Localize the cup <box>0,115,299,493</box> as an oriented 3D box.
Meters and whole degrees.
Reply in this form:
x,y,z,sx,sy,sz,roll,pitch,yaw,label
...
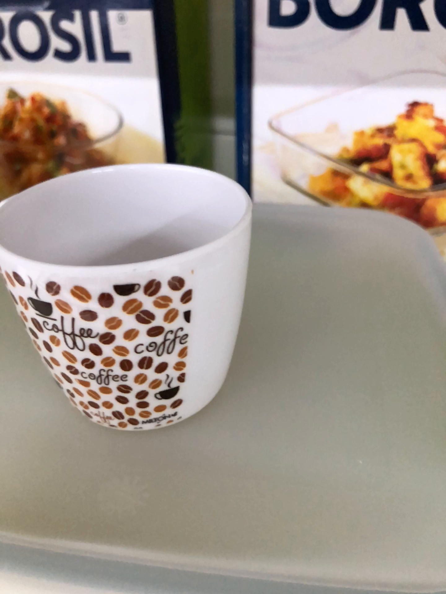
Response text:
x,y,z,sx,sy,sz,roll,pitch,yaw,label
-0.032,-0.008,0.126,0.080,0.050,0.060,18,38,27,cup
